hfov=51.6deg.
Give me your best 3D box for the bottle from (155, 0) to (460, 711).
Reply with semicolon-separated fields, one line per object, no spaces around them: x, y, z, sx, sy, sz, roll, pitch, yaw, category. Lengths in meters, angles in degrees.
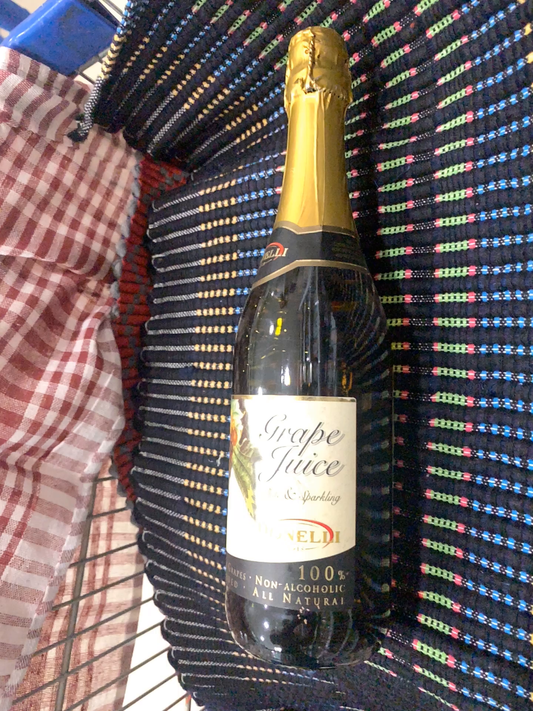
0.027;-0.019;0.262;0.091;0.080;0.300;-3;77;40;bottle
